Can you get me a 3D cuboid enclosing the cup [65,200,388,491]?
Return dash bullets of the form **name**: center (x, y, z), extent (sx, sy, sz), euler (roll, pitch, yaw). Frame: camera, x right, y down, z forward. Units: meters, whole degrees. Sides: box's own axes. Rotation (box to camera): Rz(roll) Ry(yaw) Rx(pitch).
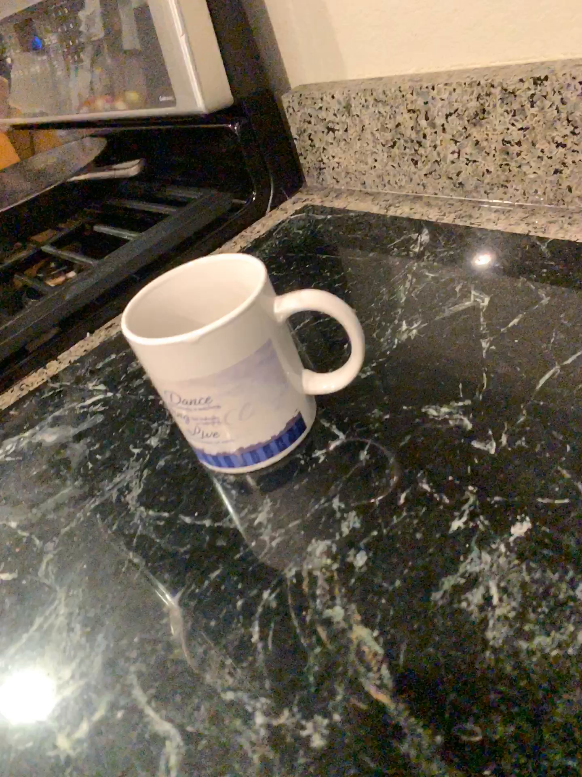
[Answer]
- **cup**: center (-0.024, -0.021, 0.324), extent (0.130, 0.099, 0.091), euler (-11, 37, 14)
